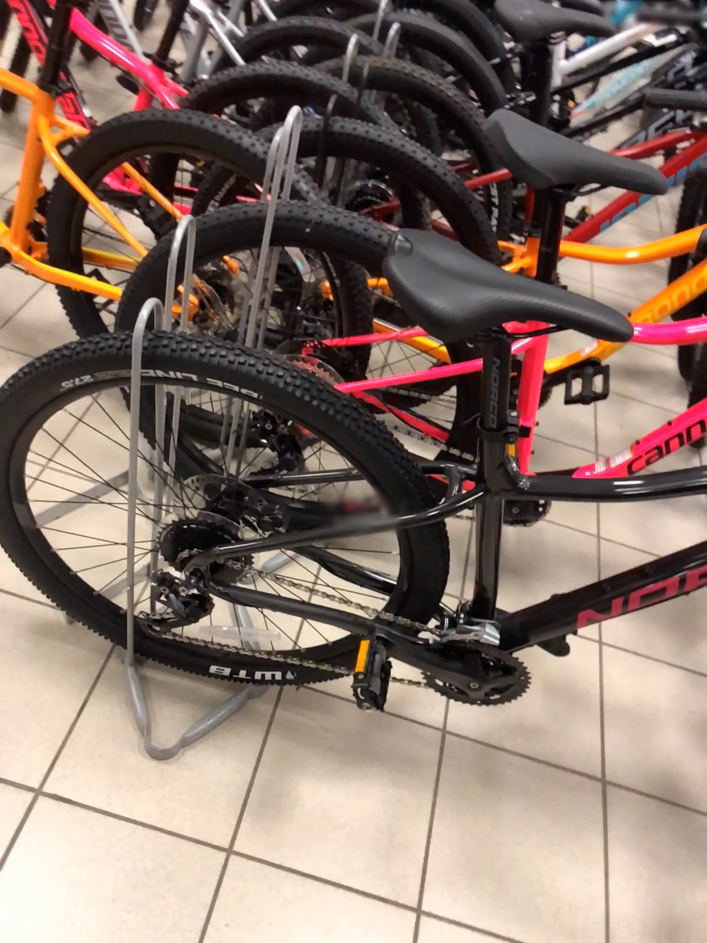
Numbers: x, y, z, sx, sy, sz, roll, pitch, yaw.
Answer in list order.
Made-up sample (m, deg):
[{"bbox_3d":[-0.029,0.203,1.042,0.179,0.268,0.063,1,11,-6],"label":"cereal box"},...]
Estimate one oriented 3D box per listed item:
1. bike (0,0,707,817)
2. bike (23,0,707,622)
[{"bbox_3d":[0.294,-0.062,1.209,1.580,1.101,0.688,10,44,-10],"label":"bike"},{"bbox_3d":[0.410,-0.344,1.481,1.565,1.074,0.656,9,44,-8],"label":"bike"}]
